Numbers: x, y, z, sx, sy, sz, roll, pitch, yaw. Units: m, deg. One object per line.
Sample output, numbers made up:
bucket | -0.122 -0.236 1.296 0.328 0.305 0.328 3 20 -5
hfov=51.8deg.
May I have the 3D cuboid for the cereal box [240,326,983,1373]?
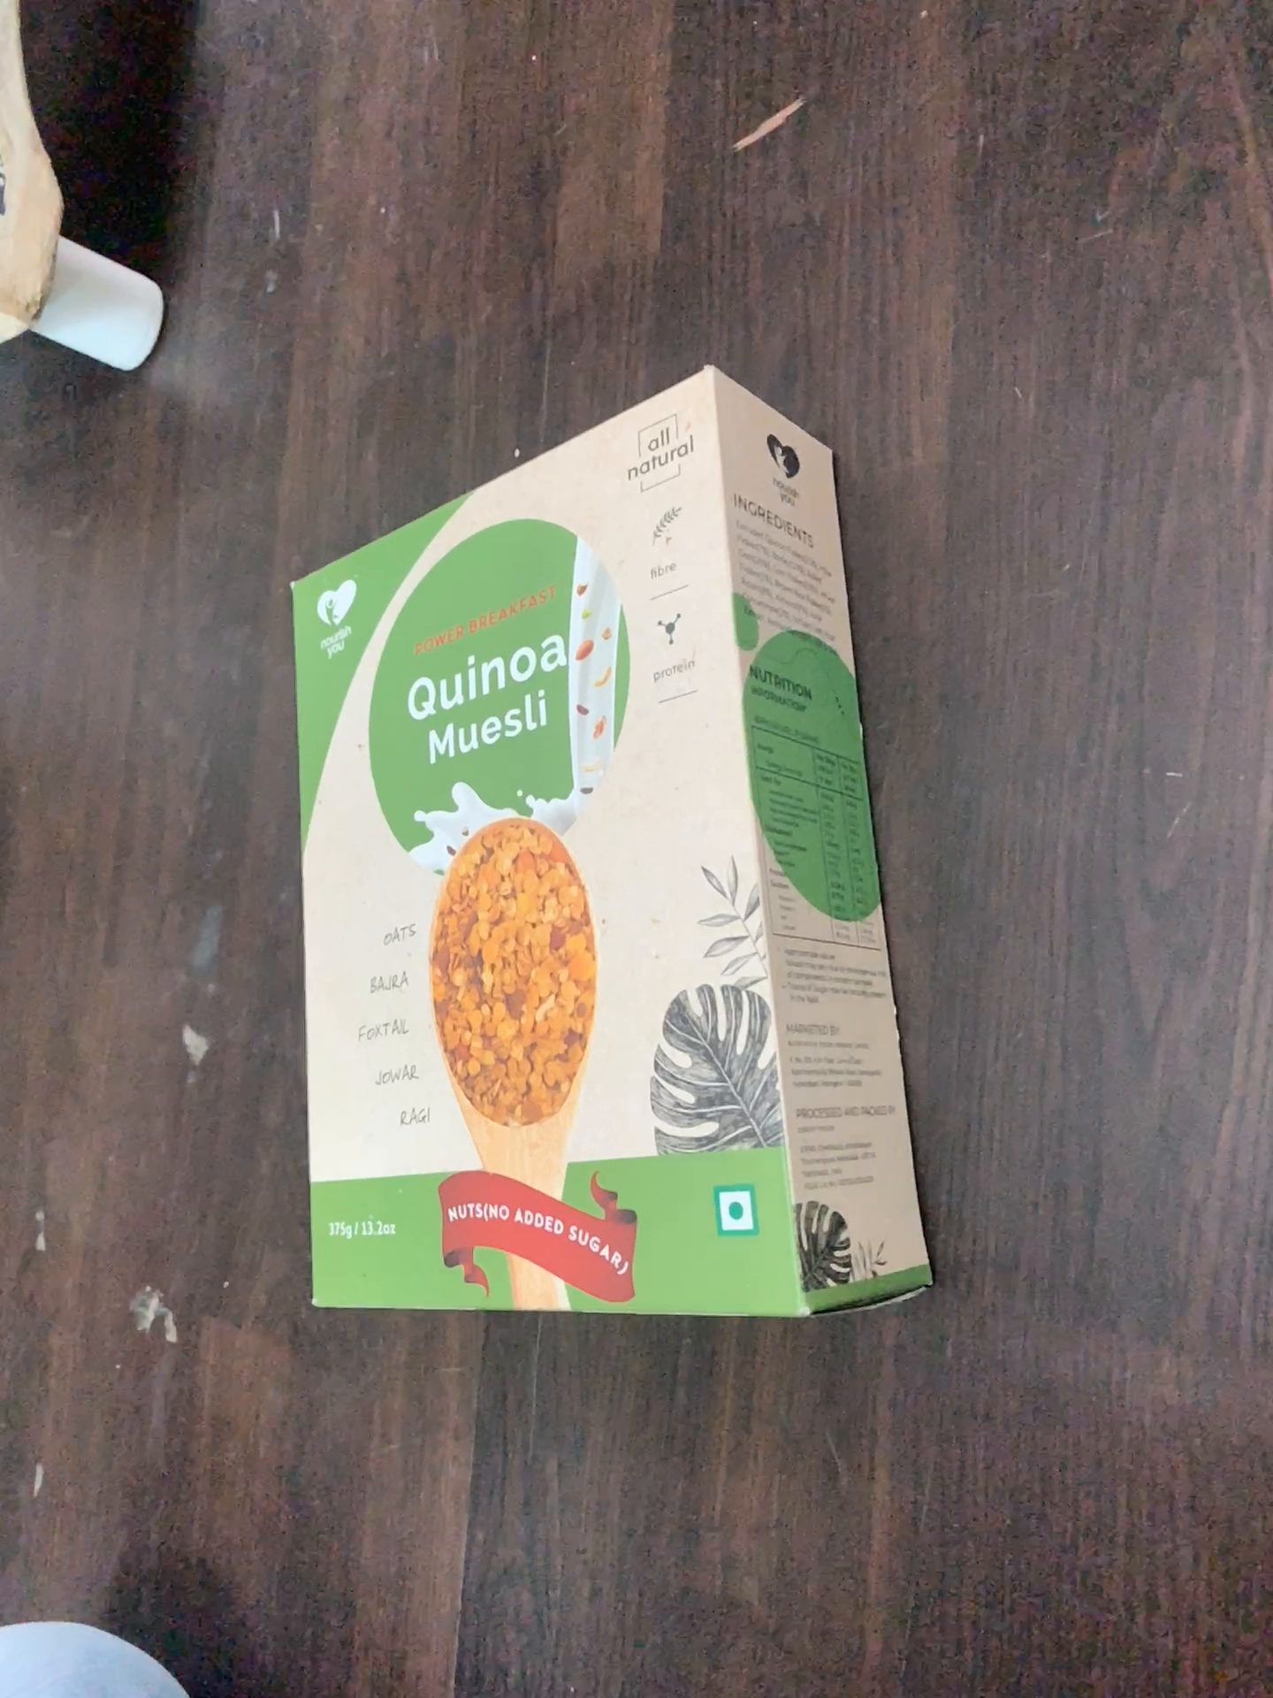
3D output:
cereal box | -0.020 0.012 0.337 0.171 0.070 0.210 -14 76 39
